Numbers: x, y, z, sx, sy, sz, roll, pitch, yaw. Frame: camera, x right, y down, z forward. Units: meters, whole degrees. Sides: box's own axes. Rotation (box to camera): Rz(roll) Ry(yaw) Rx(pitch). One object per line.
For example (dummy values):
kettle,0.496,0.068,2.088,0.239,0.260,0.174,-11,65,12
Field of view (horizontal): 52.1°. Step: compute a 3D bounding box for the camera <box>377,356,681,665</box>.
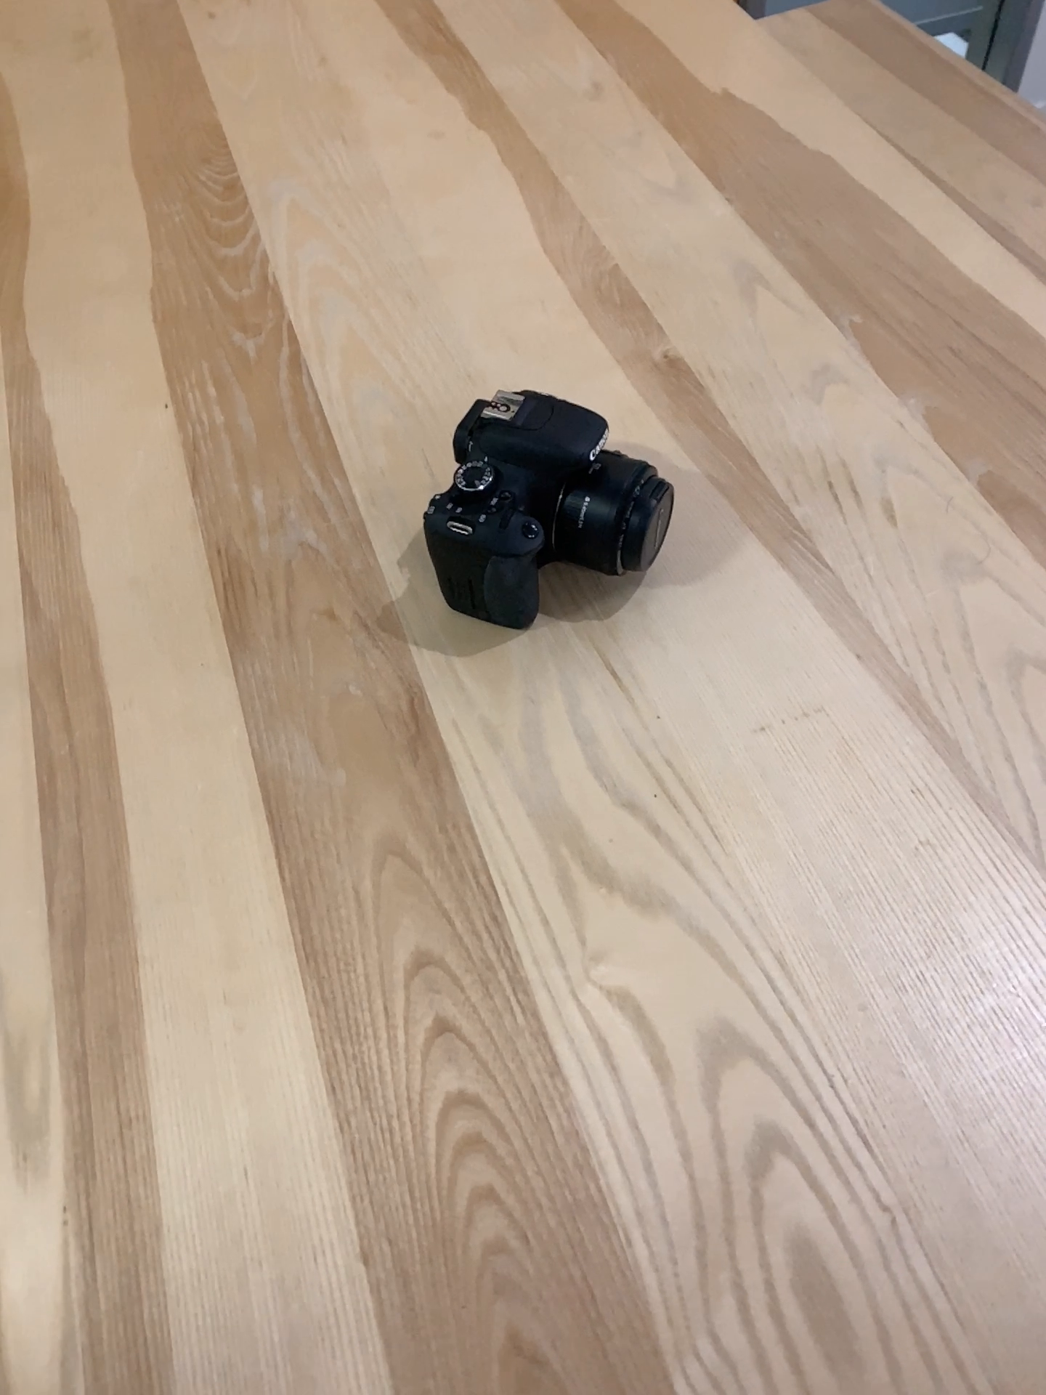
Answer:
camera,0.008,-0.112,0.627,0.127,0.089,0.127,19,58,17
